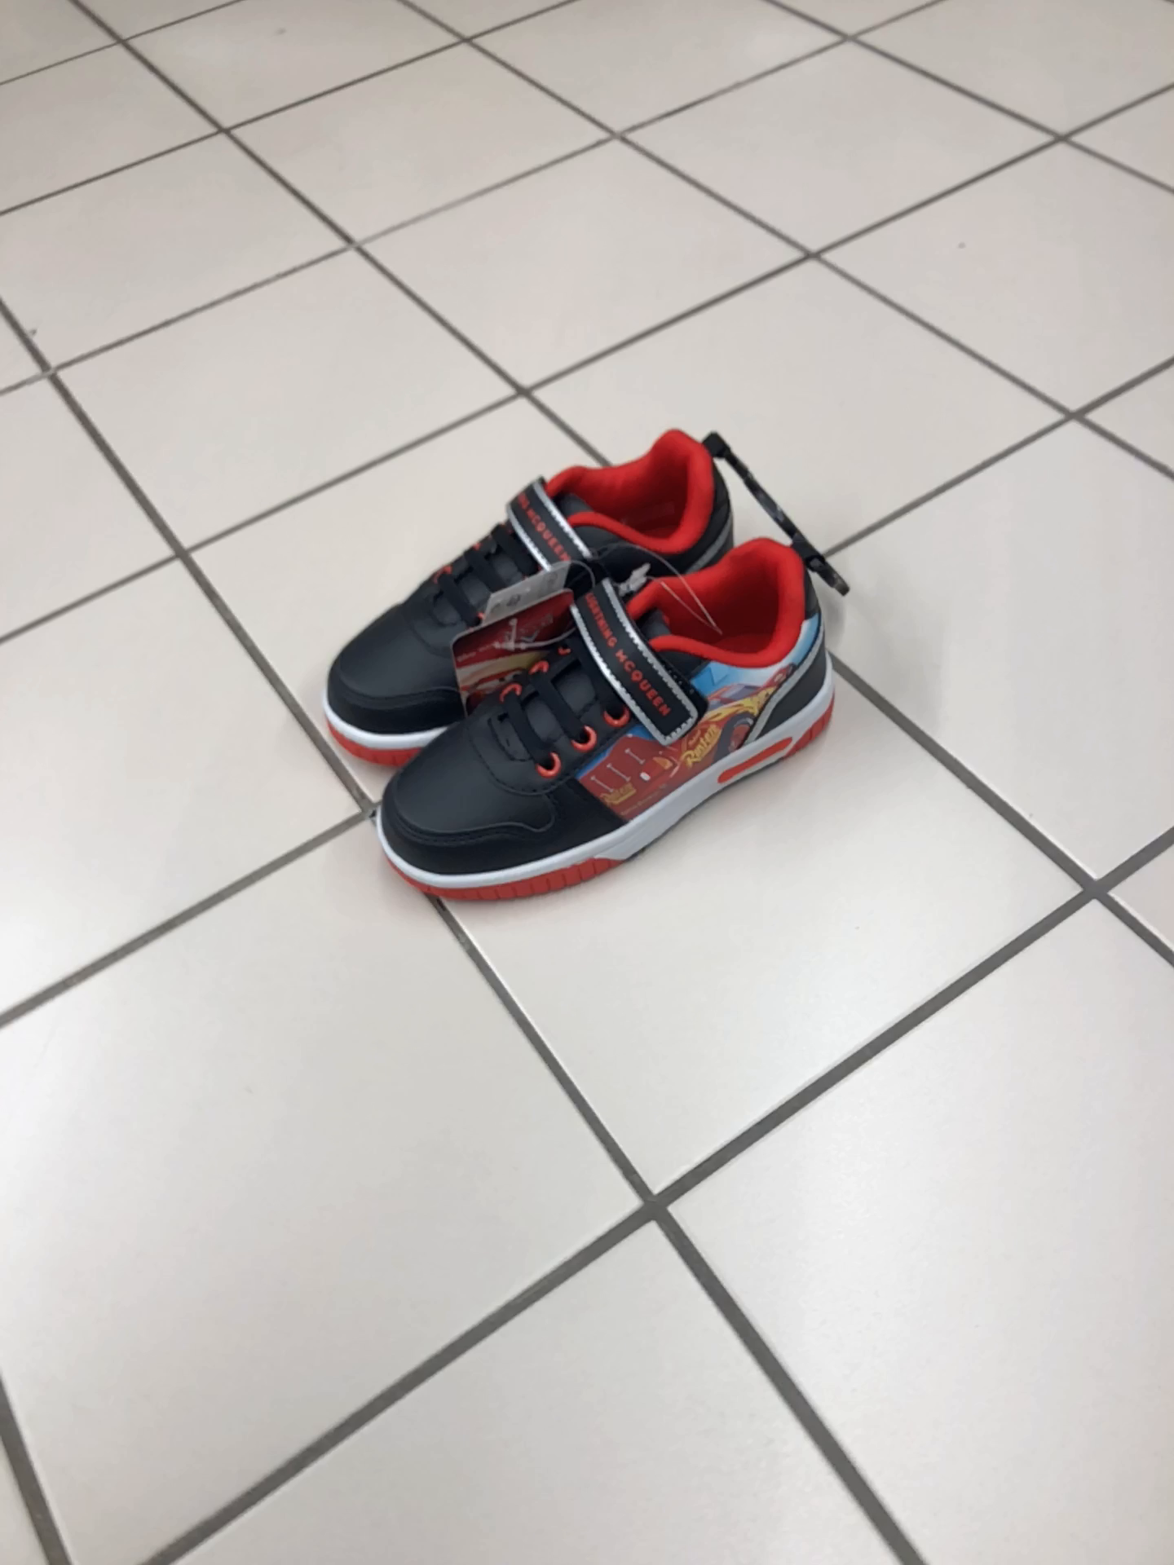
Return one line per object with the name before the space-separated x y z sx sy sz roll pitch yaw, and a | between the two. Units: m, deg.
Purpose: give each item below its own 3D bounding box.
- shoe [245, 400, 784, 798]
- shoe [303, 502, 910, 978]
shoe | -0.026 -0.082 0.550 0.209 0.053 0.080 -27 54 -15
shoe | 0.009 -0.022 0.500 0.207 0.053 0.094 -27 54 -15
